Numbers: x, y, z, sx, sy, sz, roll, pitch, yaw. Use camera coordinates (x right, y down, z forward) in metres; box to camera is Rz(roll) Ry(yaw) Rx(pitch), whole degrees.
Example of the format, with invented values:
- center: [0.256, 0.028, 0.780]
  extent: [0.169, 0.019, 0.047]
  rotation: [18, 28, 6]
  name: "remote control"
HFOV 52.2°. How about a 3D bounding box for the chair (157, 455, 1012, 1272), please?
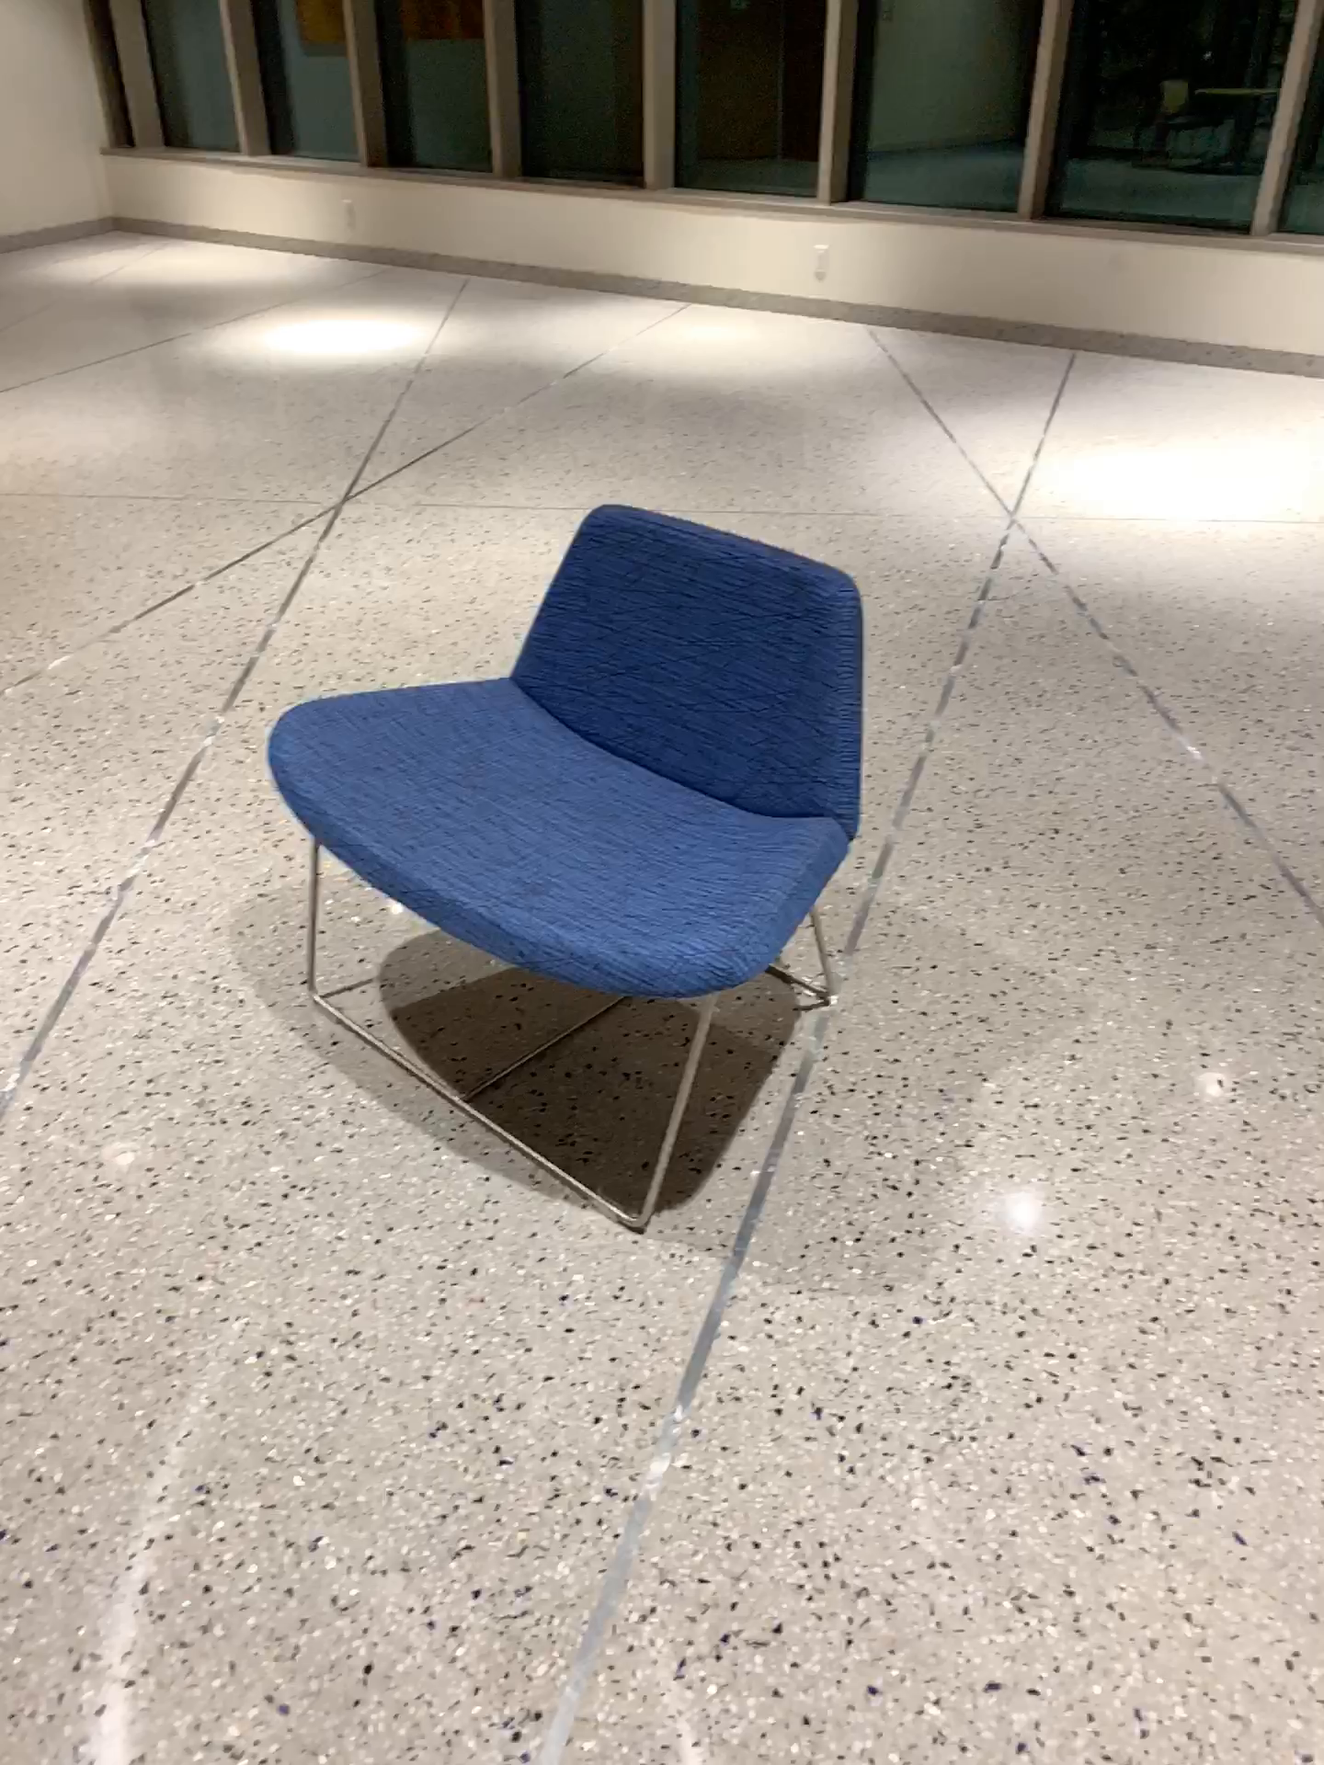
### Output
- center: [-0.125, -0.117, 1.972]
  extent: [0.945, 0.698, 0.664]
  rotation: [27, 41, 35]
  name: "chair"
